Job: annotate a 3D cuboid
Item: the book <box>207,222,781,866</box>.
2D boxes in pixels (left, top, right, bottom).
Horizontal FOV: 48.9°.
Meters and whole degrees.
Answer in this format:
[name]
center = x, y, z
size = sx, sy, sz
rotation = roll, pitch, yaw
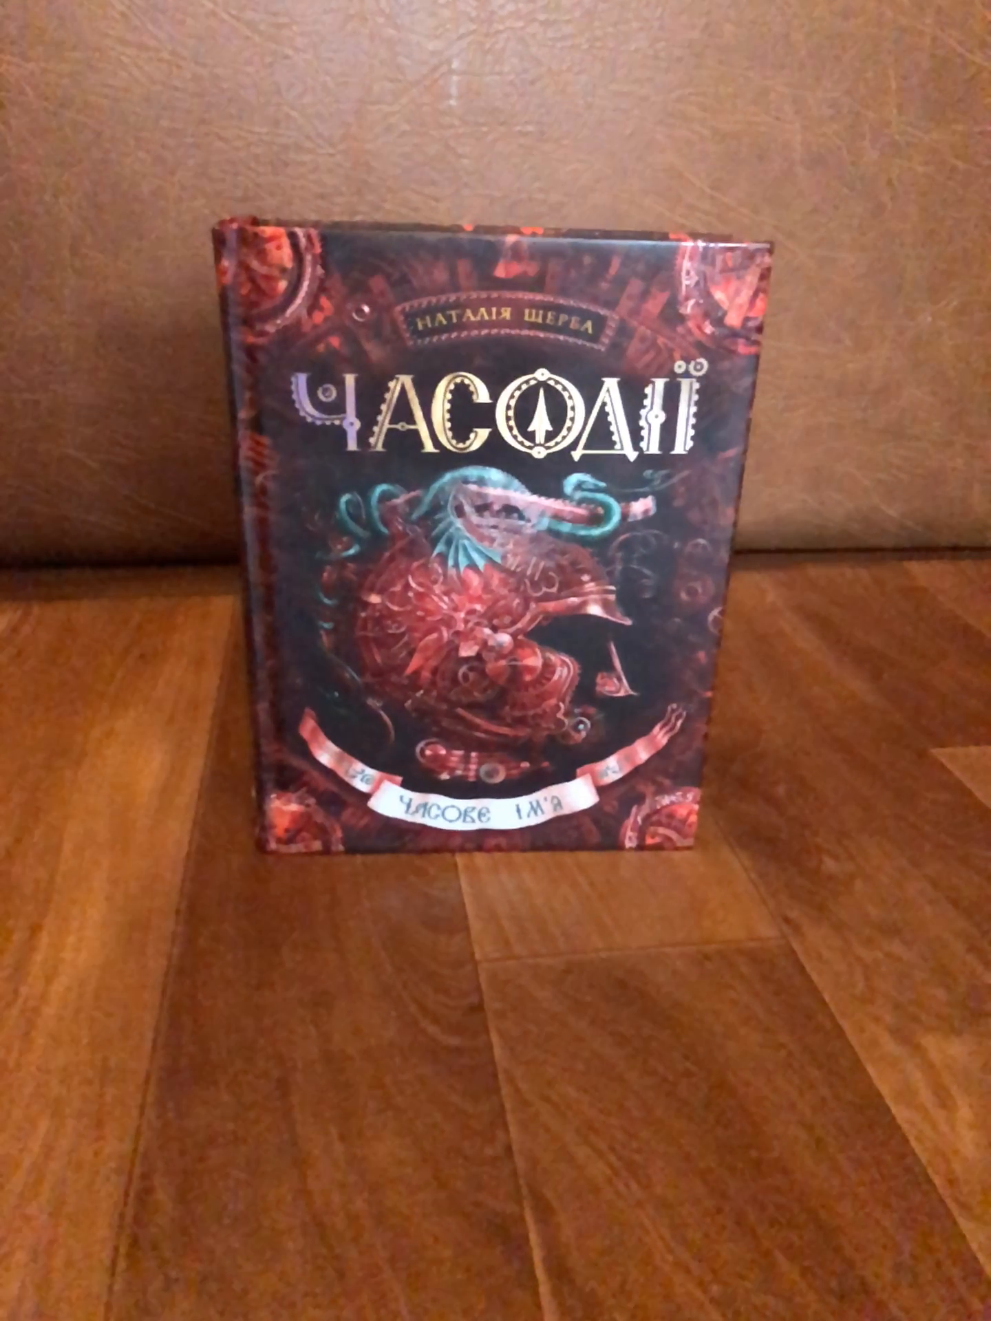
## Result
[book]
center = -0.004, -0.032, 0.385
size = 0.170, 0.220, 0.040
rotation = 0, 25, -6
